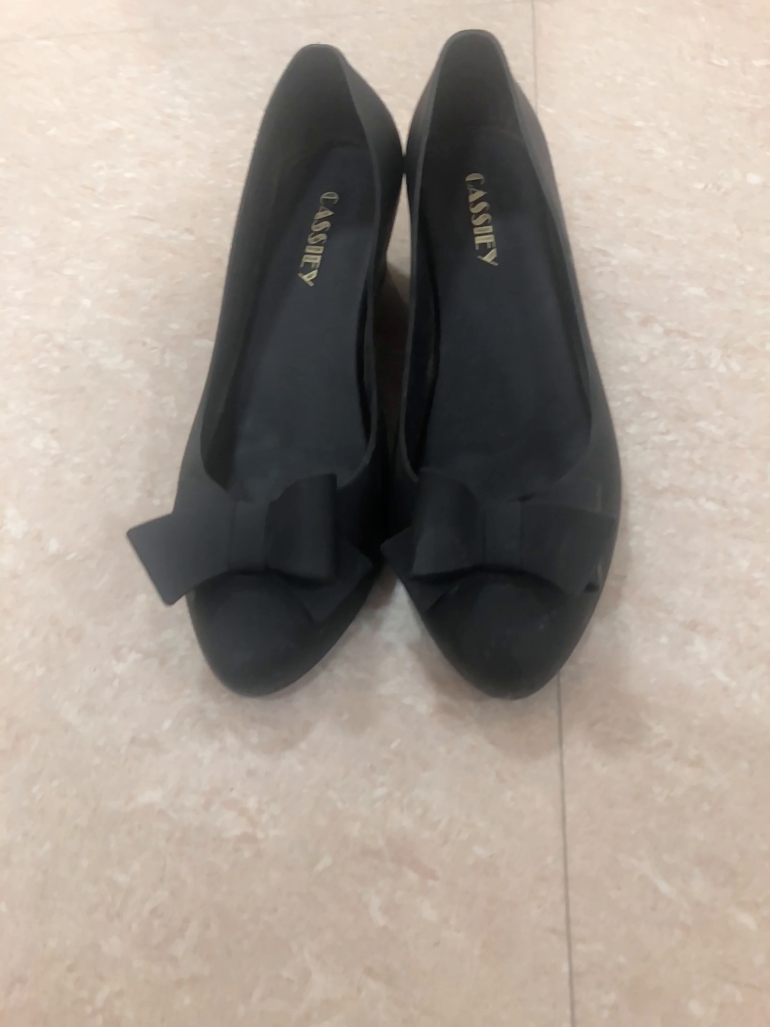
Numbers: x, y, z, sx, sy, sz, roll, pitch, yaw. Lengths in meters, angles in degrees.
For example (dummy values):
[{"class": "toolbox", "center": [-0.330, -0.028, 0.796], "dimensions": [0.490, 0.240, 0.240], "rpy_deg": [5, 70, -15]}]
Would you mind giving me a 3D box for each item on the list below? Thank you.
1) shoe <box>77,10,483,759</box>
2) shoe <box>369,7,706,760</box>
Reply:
[{"class": "shoe", "center": [-0.018, -0.071, 0.352], "dimensions": [0.090, 0.090, 0.311], "rpy_deg": [3, 60, 10]}, {"class": "shoe", "center": [0.053, -0.068, 0.348], "dimensions": [0.090, 0.090, 0.311], "rpy_deg": [-1, 60, 7]}]
